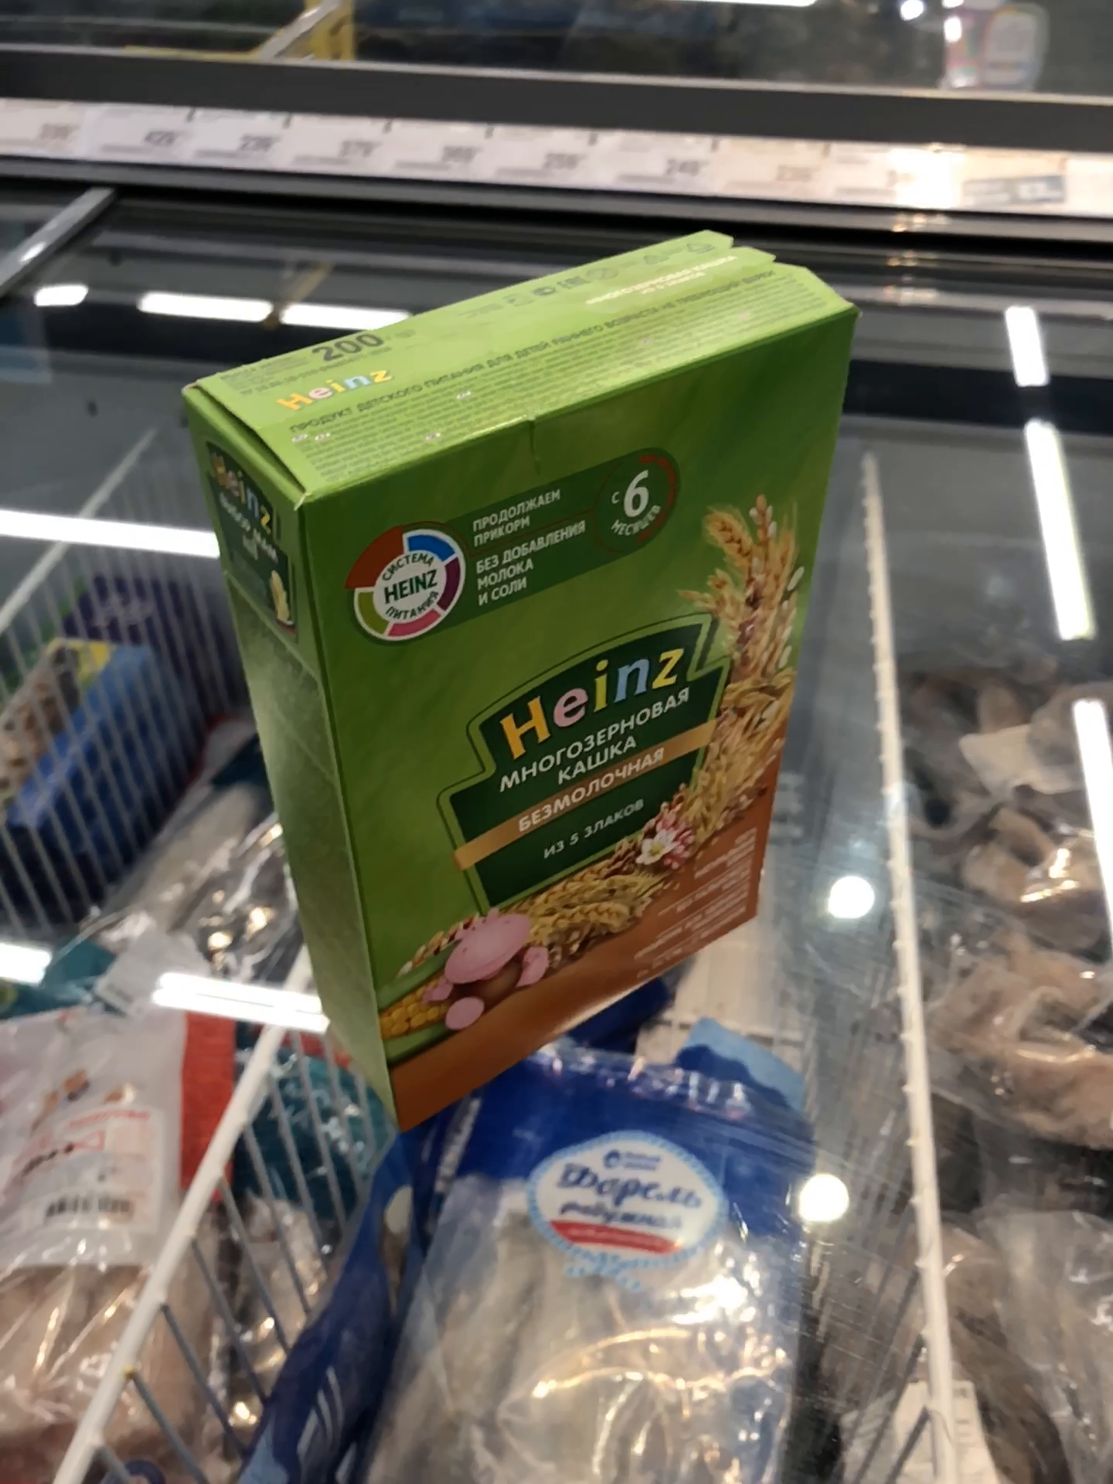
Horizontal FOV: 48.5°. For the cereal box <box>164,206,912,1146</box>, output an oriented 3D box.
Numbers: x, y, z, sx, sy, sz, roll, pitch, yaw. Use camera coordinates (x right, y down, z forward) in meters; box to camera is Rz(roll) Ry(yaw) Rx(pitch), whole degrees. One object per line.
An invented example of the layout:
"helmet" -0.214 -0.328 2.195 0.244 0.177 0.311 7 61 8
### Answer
"cereal box" 0.002 -0.008 0.305 0.140 0.199 0.050 -26 48 -25
